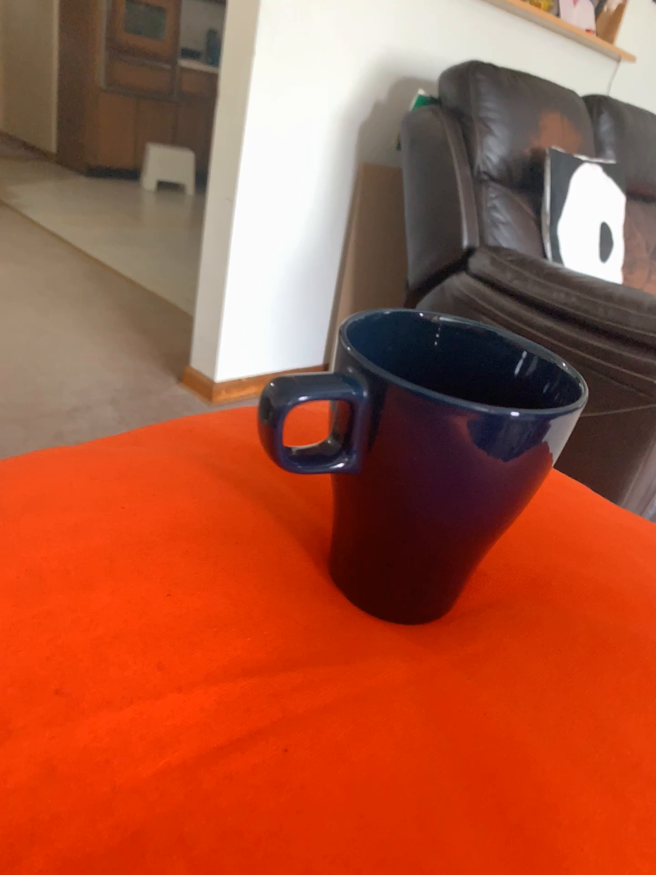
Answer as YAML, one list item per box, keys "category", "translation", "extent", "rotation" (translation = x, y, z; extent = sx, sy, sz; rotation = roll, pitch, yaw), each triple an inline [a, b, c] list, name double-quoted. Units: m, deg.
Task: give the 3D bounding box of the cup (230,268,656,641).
- category: "cup"
  translation: [0.043, -0.003, 0.229]
  extent: [0.120, 0.079, 0.080]
  rotation: [-5, 30, -31]
